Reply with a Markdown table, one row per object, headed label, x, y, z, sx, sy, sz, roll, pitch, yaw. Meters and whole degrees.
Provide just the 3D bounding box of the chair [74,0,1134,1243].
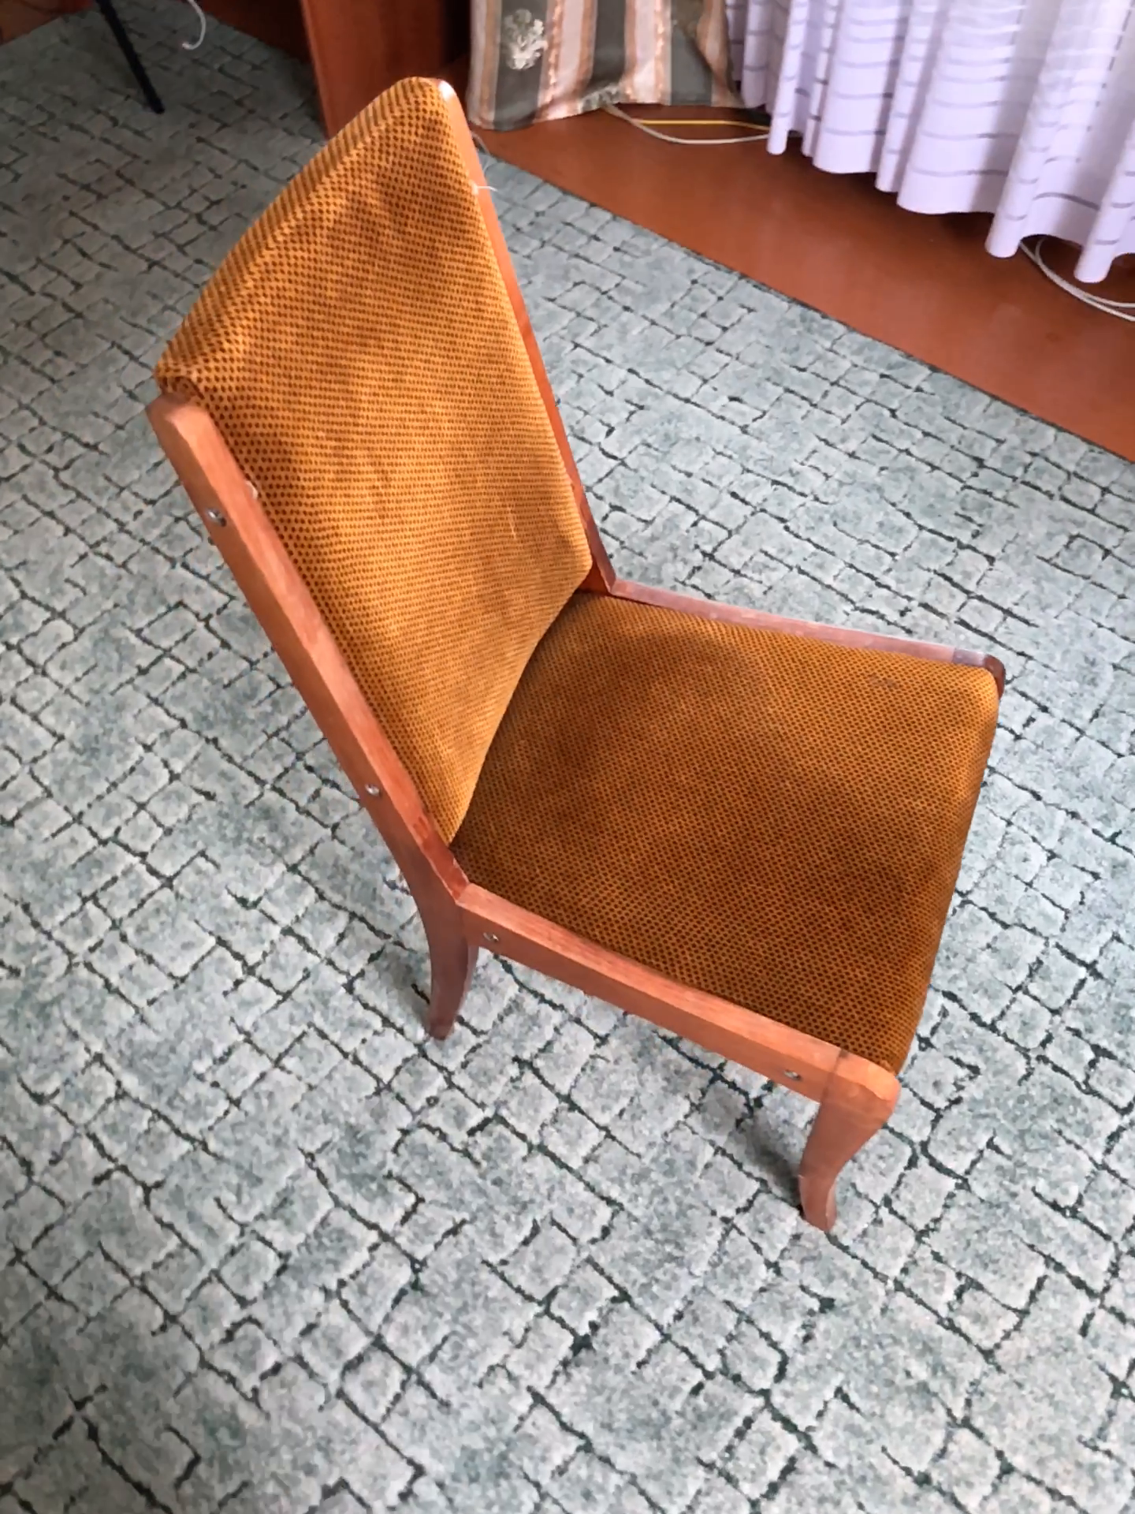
| label | x | y | z | sx | sy | sz | roll | pitch | yaw |
| --- | --- | --- | --- | --- | --- | --- | --- | --- | --- |
| chair | 0.105 | -0.021 | 1.042 | 0.528 | 0.924 | 0.473 | 18 | 59 | 12 |
